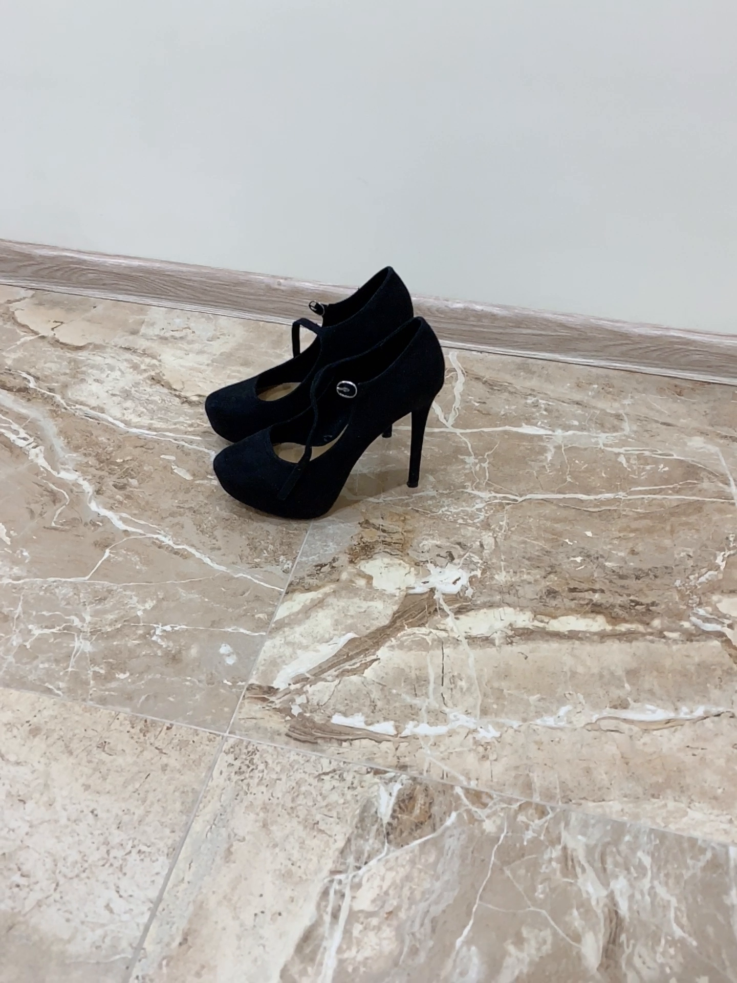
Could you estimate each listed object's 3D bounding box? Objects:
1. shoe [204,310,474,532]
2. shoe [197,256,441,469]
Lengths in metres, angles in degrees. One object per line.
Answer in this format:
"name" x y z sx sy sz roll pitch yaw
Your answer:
"shoe" -0.029 -0.062 0.668 0.210 0.159 0.080 -7 41 -12
"shoe" -0.051 -0.127 0.743 0.210 0.169 0.090 -7 41 -12
